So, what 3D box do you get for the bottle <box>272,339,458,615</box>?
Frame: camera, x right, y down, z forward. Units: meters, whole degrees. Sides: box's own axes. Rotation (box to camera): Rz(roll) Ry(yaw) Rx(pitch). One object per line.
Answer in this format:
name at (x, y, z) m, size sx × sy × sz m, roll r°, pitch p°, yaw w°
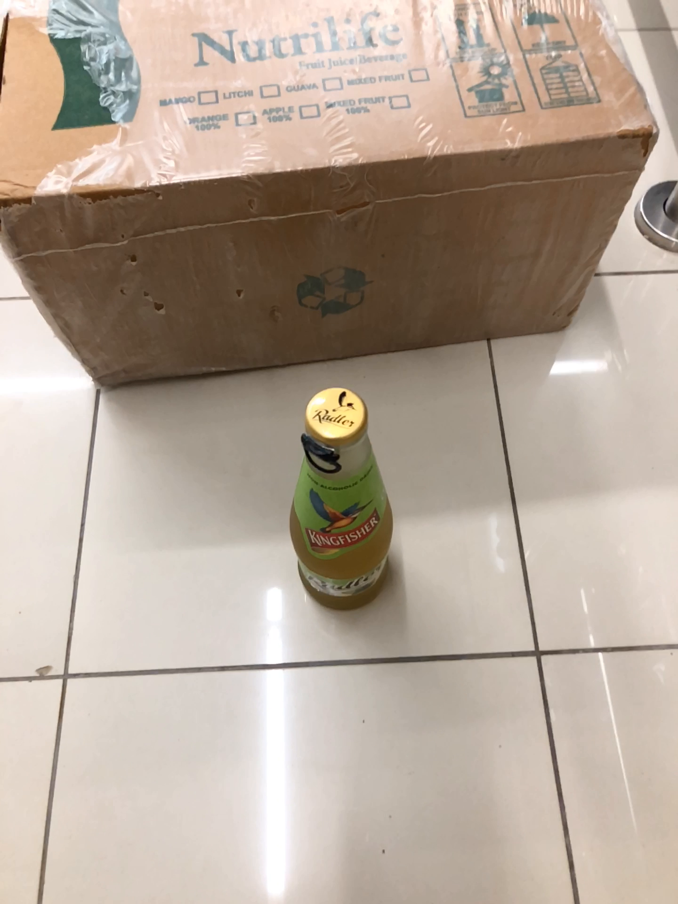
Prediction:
bottle at (0.010, 0.028, 0.391) m, size 0.070 × 0.209 × 0.060 m, roll -3°, pitch 64°, yaw -1°
